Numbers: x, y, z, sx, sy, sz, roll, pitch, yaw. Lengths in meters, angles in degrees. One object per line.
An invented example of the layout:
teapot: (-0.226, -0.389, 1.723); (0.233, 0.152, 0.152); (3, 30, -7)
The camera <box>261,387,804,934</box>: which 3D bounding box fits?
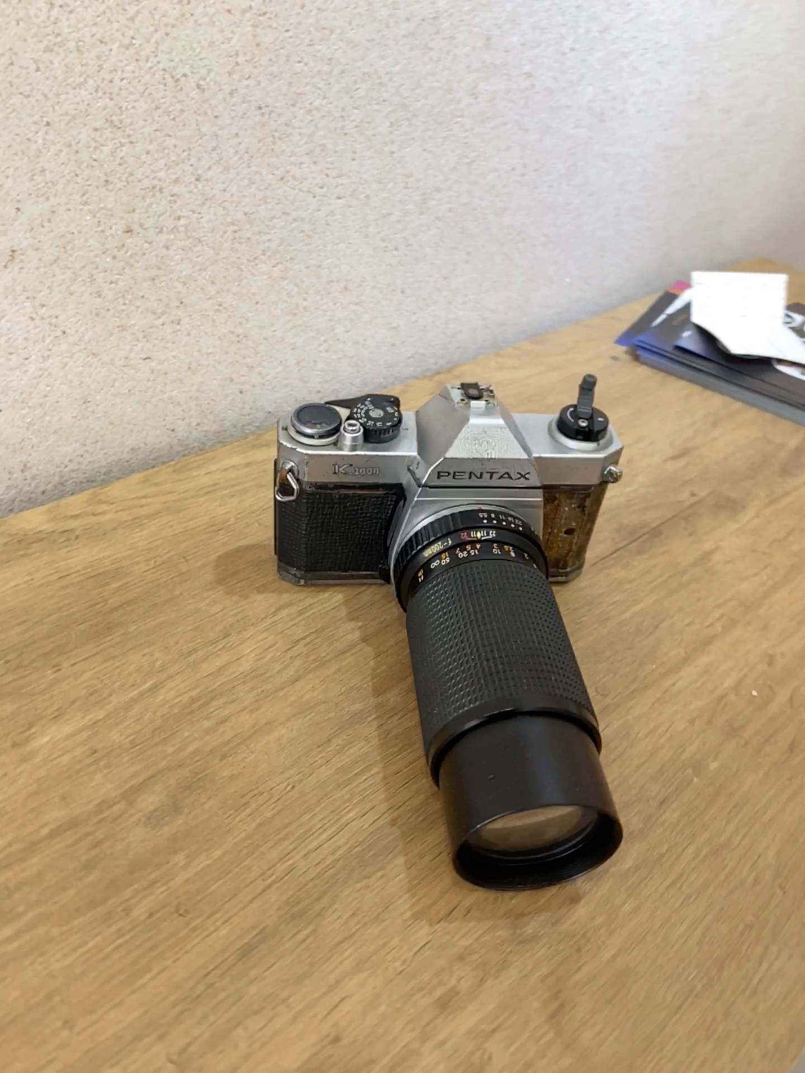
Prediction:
camera: (0.027, 0.026, 0.300); (0.150, 0.079, 0.181); (-2, 39, -9)
